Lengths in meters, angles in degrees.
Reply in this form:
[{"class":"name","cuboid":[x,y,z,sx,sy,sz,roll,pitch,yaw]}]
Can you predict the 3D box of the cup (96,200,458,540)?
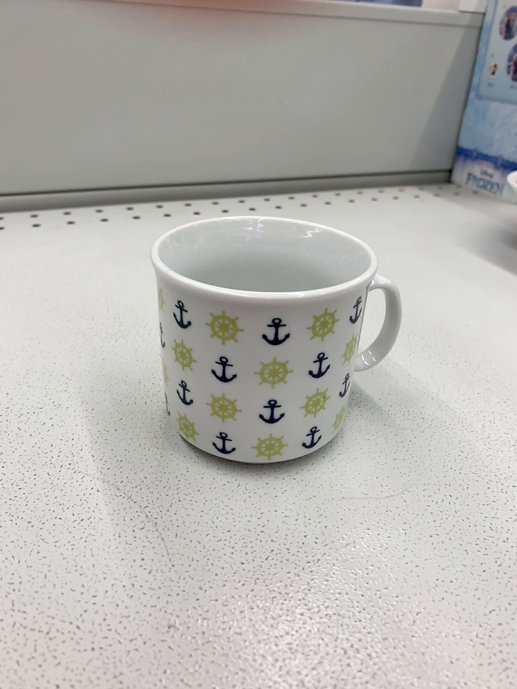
[{"class":"cup","cuboid":[0.005,-0.002,0.203,0.096,0.076,0.078,-19,35,-33]}]
